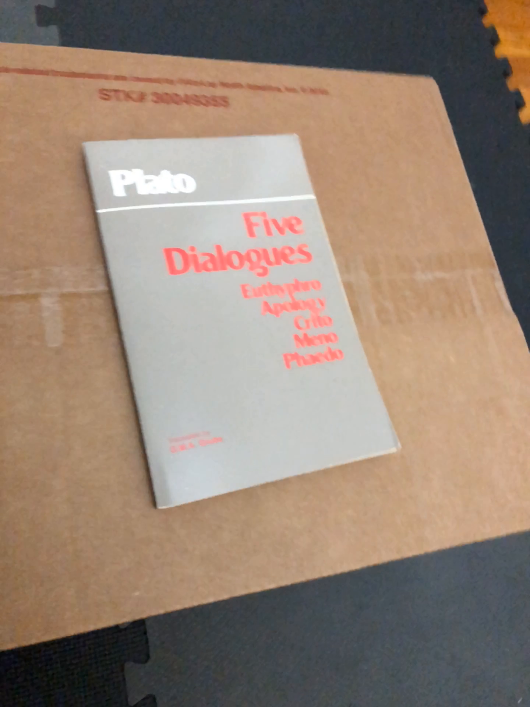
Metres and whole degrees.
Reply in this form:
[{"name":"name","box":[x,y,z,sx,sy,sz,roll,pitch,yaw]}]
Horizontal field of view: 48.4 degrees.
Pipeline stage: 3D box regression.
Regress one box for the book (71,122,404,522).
[{"name":"book","box":[-0.019,-0.033,0.340,0.140,0.020,0.220,-10,74,-20]}]
